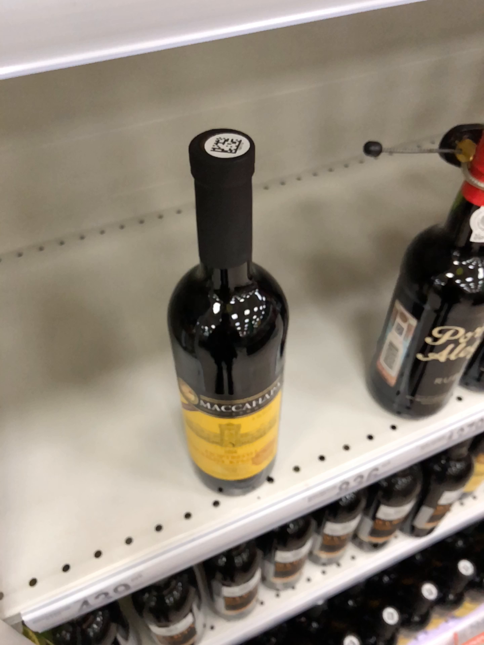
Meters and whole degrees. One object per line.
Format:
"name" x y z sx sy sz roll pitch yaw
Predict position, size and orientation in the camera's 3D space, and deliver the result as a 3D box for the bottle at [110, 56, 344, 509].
"bottle" -0.011 0.010 0.395 0.100 0.348 0.101 0 49 0
